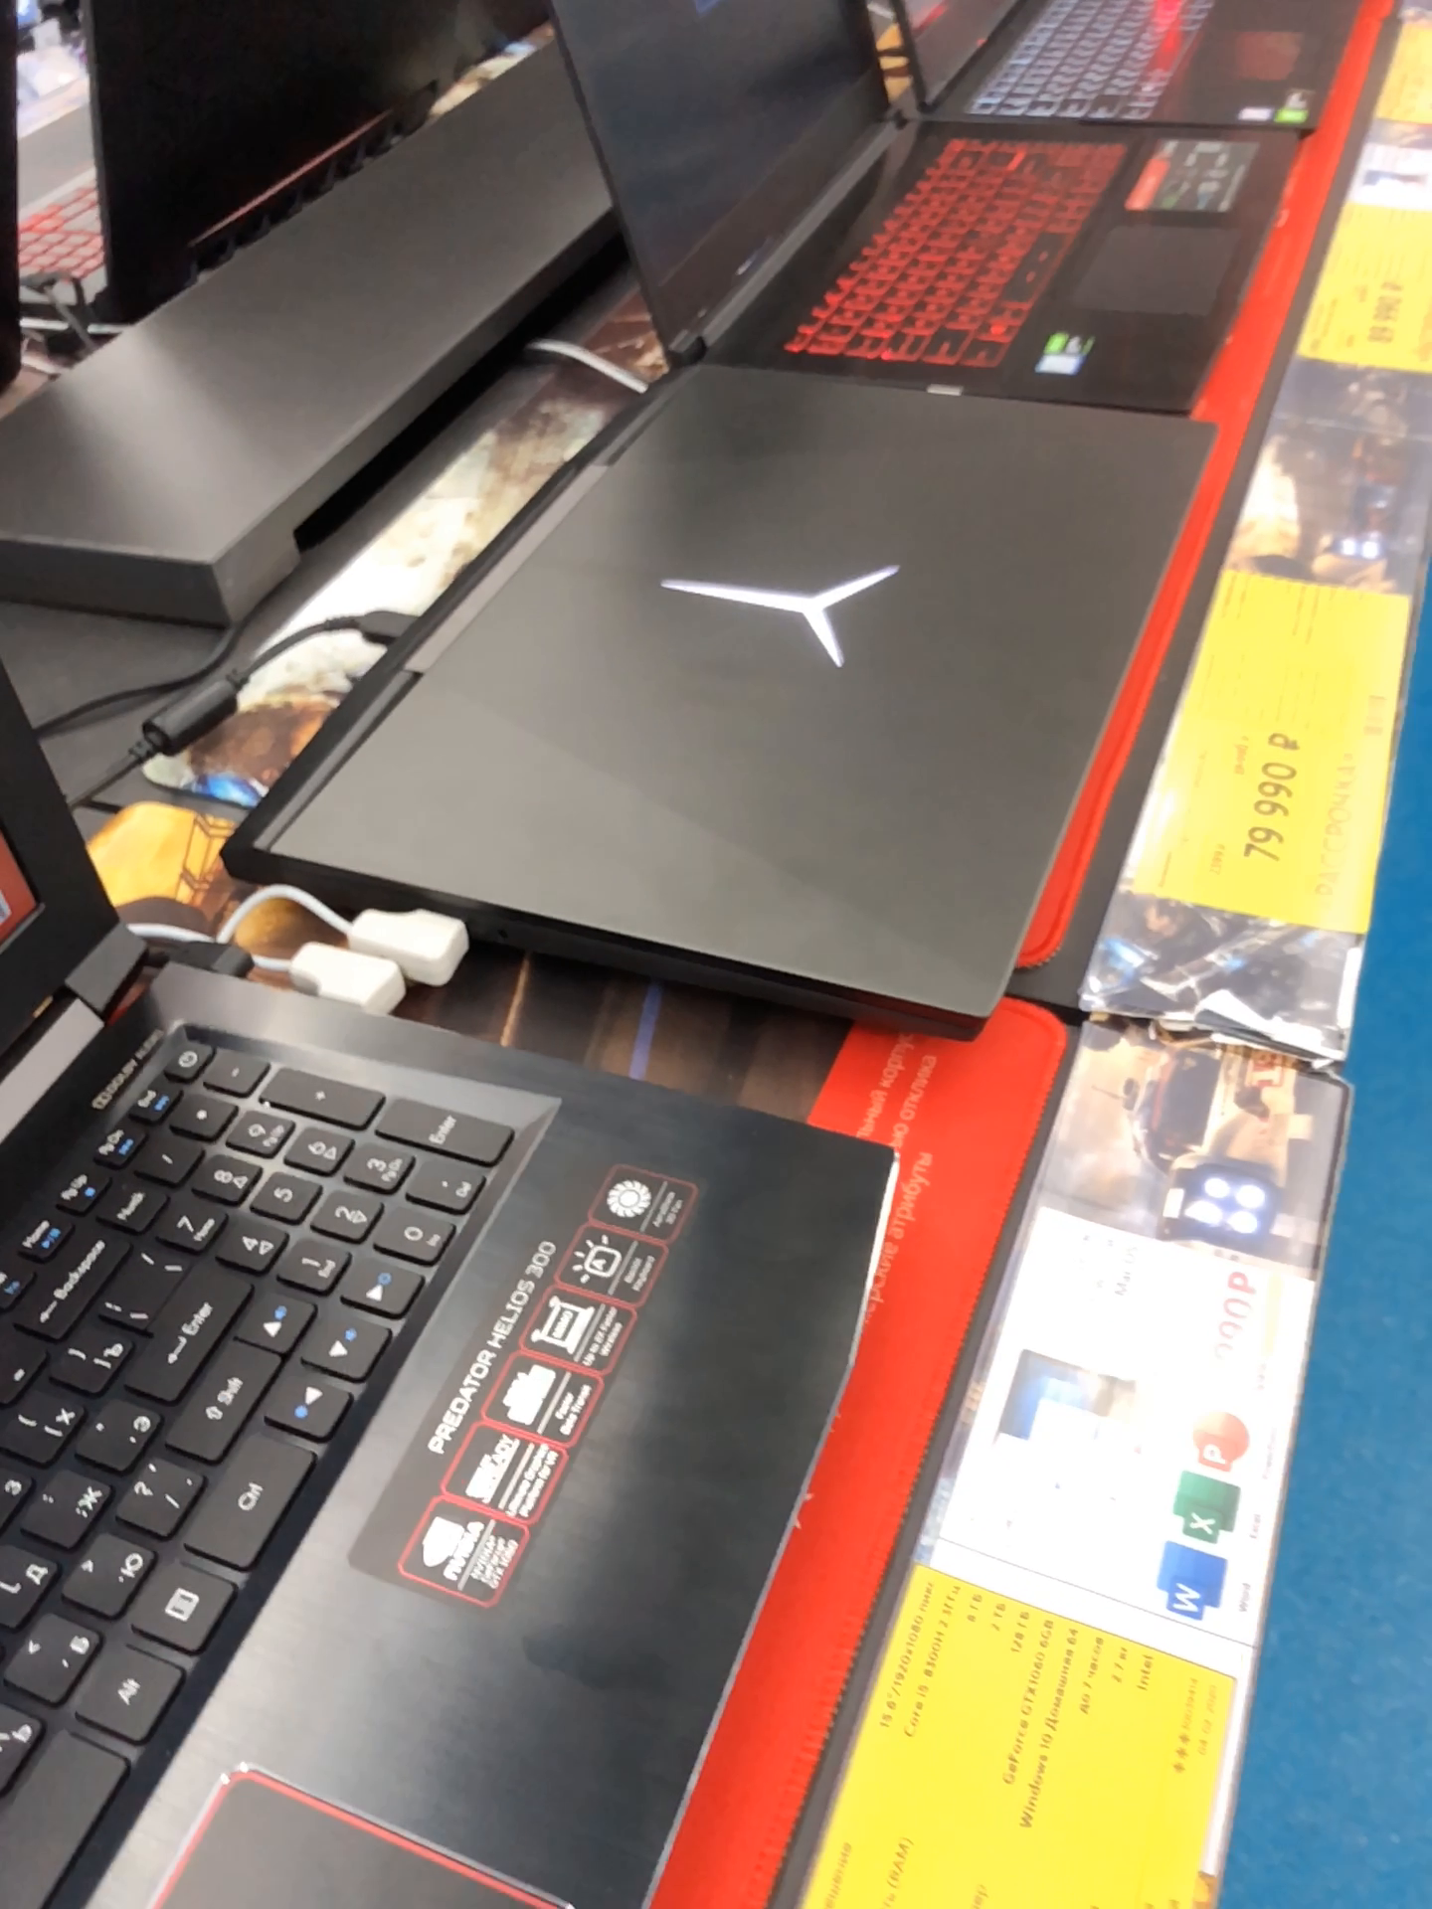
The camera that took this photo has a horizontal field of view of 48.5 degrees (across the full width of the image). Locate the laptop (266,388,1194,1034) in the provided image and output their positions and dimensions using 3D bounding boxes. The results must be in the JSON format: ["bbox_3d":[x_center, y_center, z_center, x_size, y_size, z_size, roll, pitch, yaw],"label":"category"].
[{"bbox_3d":[0.027,-0.119,0.584,0.227,0.007,0.345,12,48,19],"label":"laptop"}]
